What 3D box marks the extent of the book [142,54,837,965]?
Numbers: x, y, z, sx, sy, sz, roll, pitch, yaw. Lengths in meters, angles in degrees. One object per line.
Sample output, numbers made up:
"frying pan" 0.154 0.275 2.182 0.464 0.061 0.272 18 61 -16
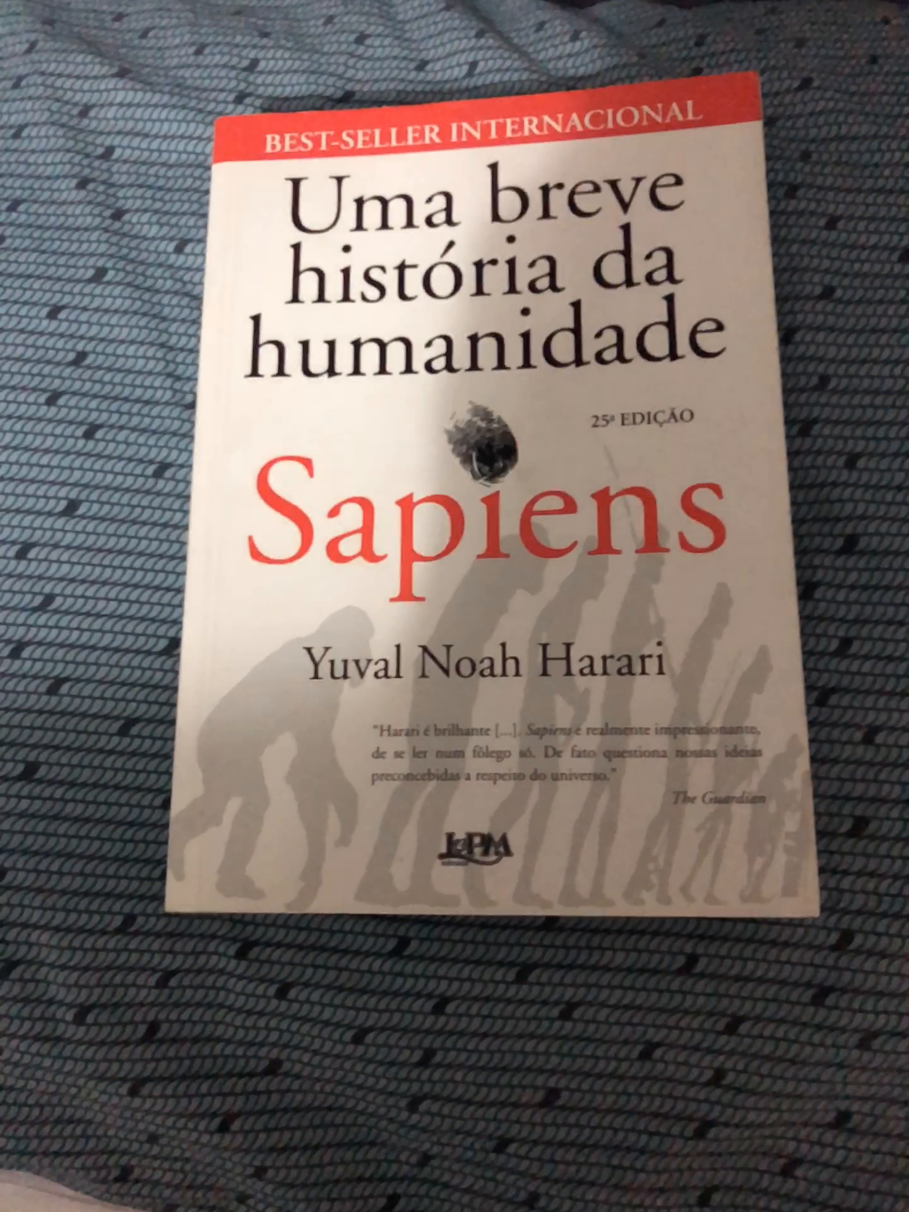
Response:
"book" 0.006 -0.030 0.280 0.160 0.040 0.240 -2 77 5
